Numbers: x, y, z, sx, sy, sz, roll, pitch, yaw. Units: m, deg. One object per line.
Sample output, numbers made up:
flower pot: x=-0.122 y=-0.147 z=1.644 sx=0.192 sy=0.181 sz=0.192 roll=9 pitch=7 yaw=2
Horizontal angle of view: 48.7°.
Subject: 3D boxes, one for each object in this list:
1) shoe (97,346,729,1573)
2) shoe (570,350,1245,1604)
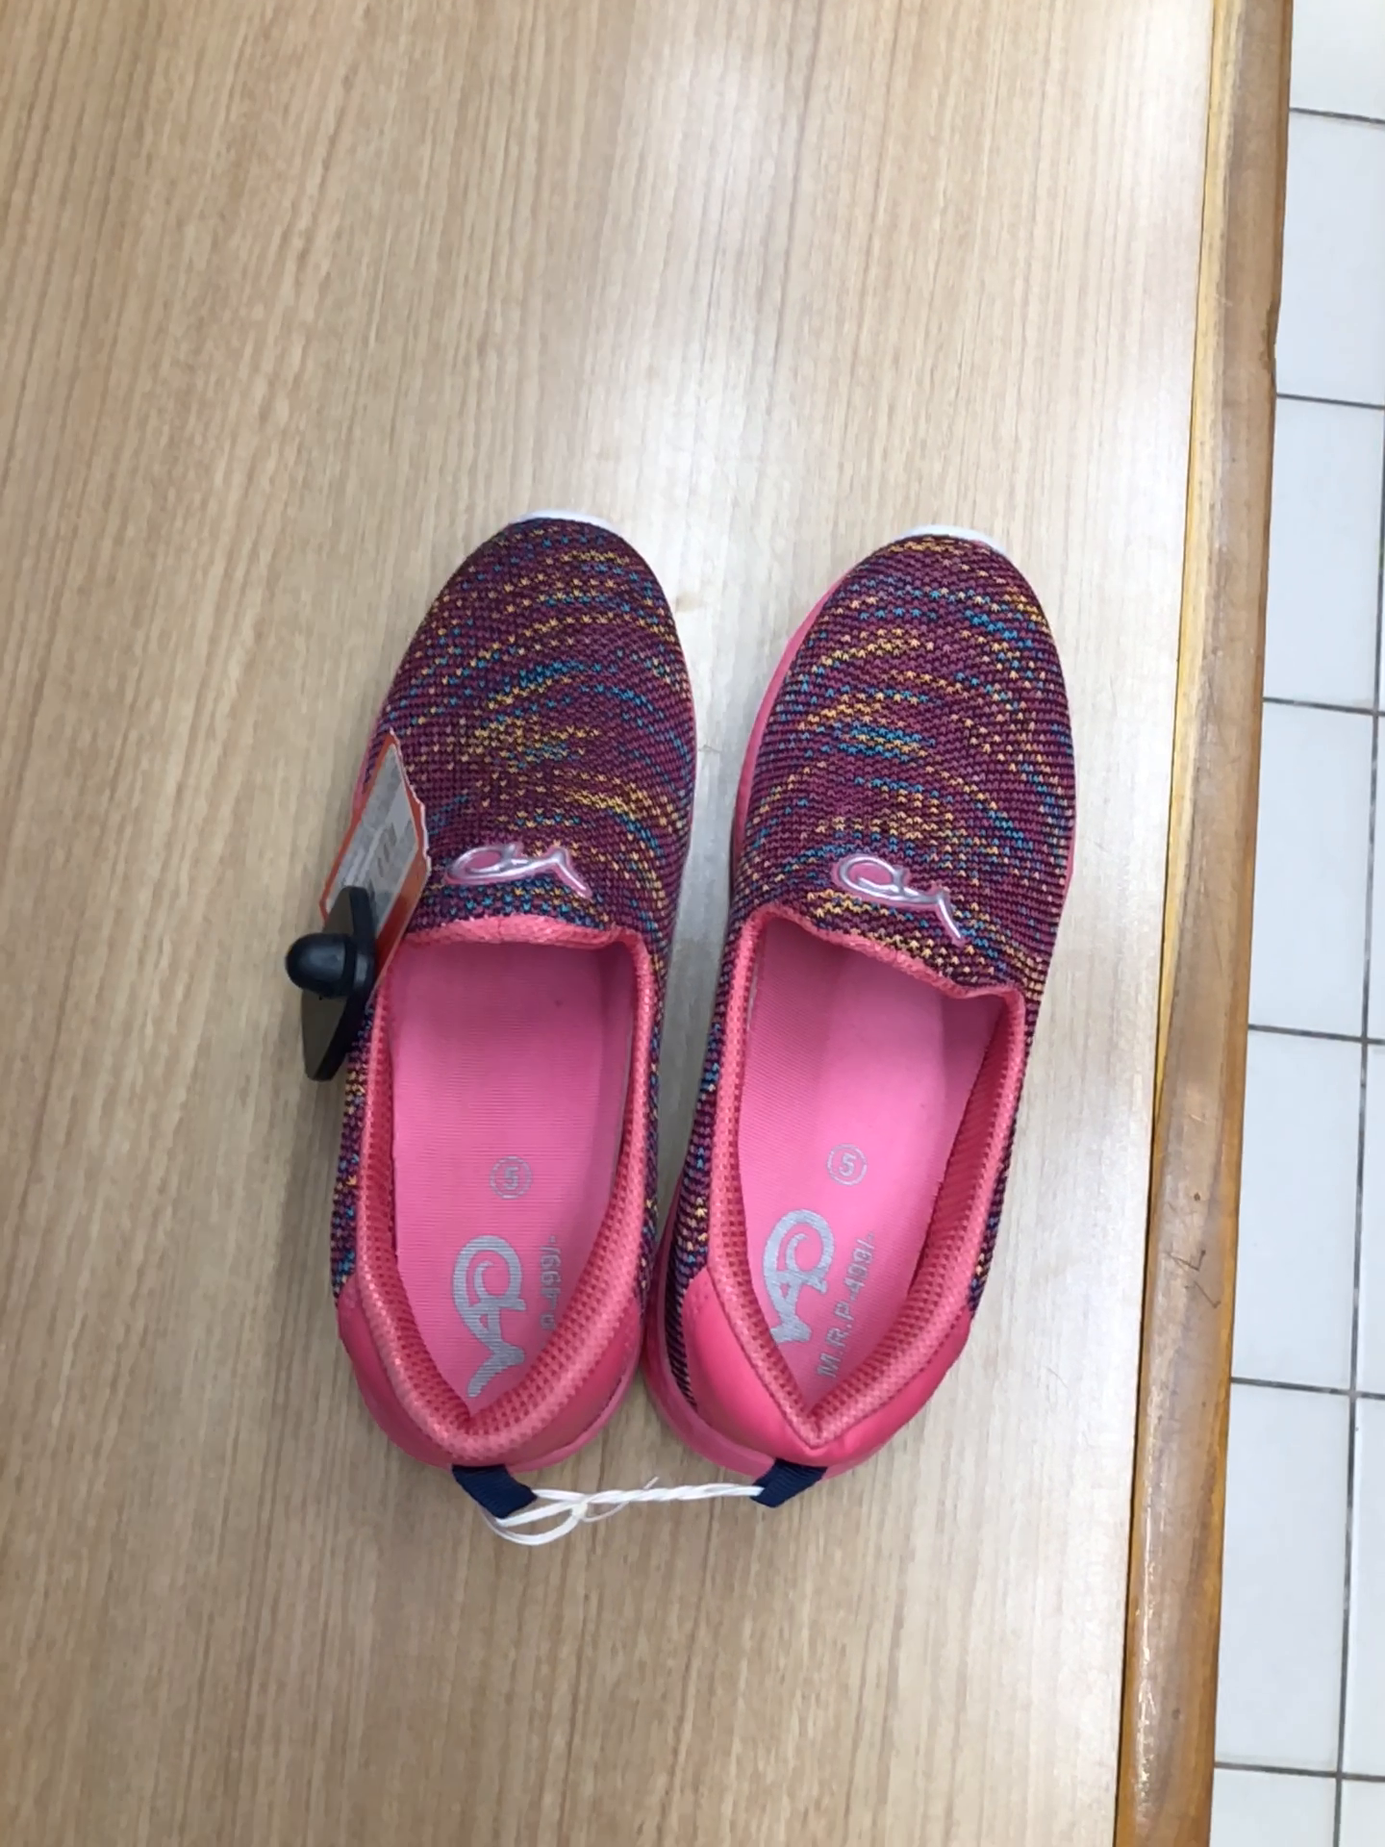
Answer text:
shoe: x=-0.054 y=0.008 z=0.360 sx=0.105 sy=0.103 sz=0.244 roll=4 pitch=80 yaw=-1
shoe: x=0.047 y=0.011 z=0.364 sx=0.105 sy=0.103 sz=0.244 roll=10 pitch=80 yaw=0
